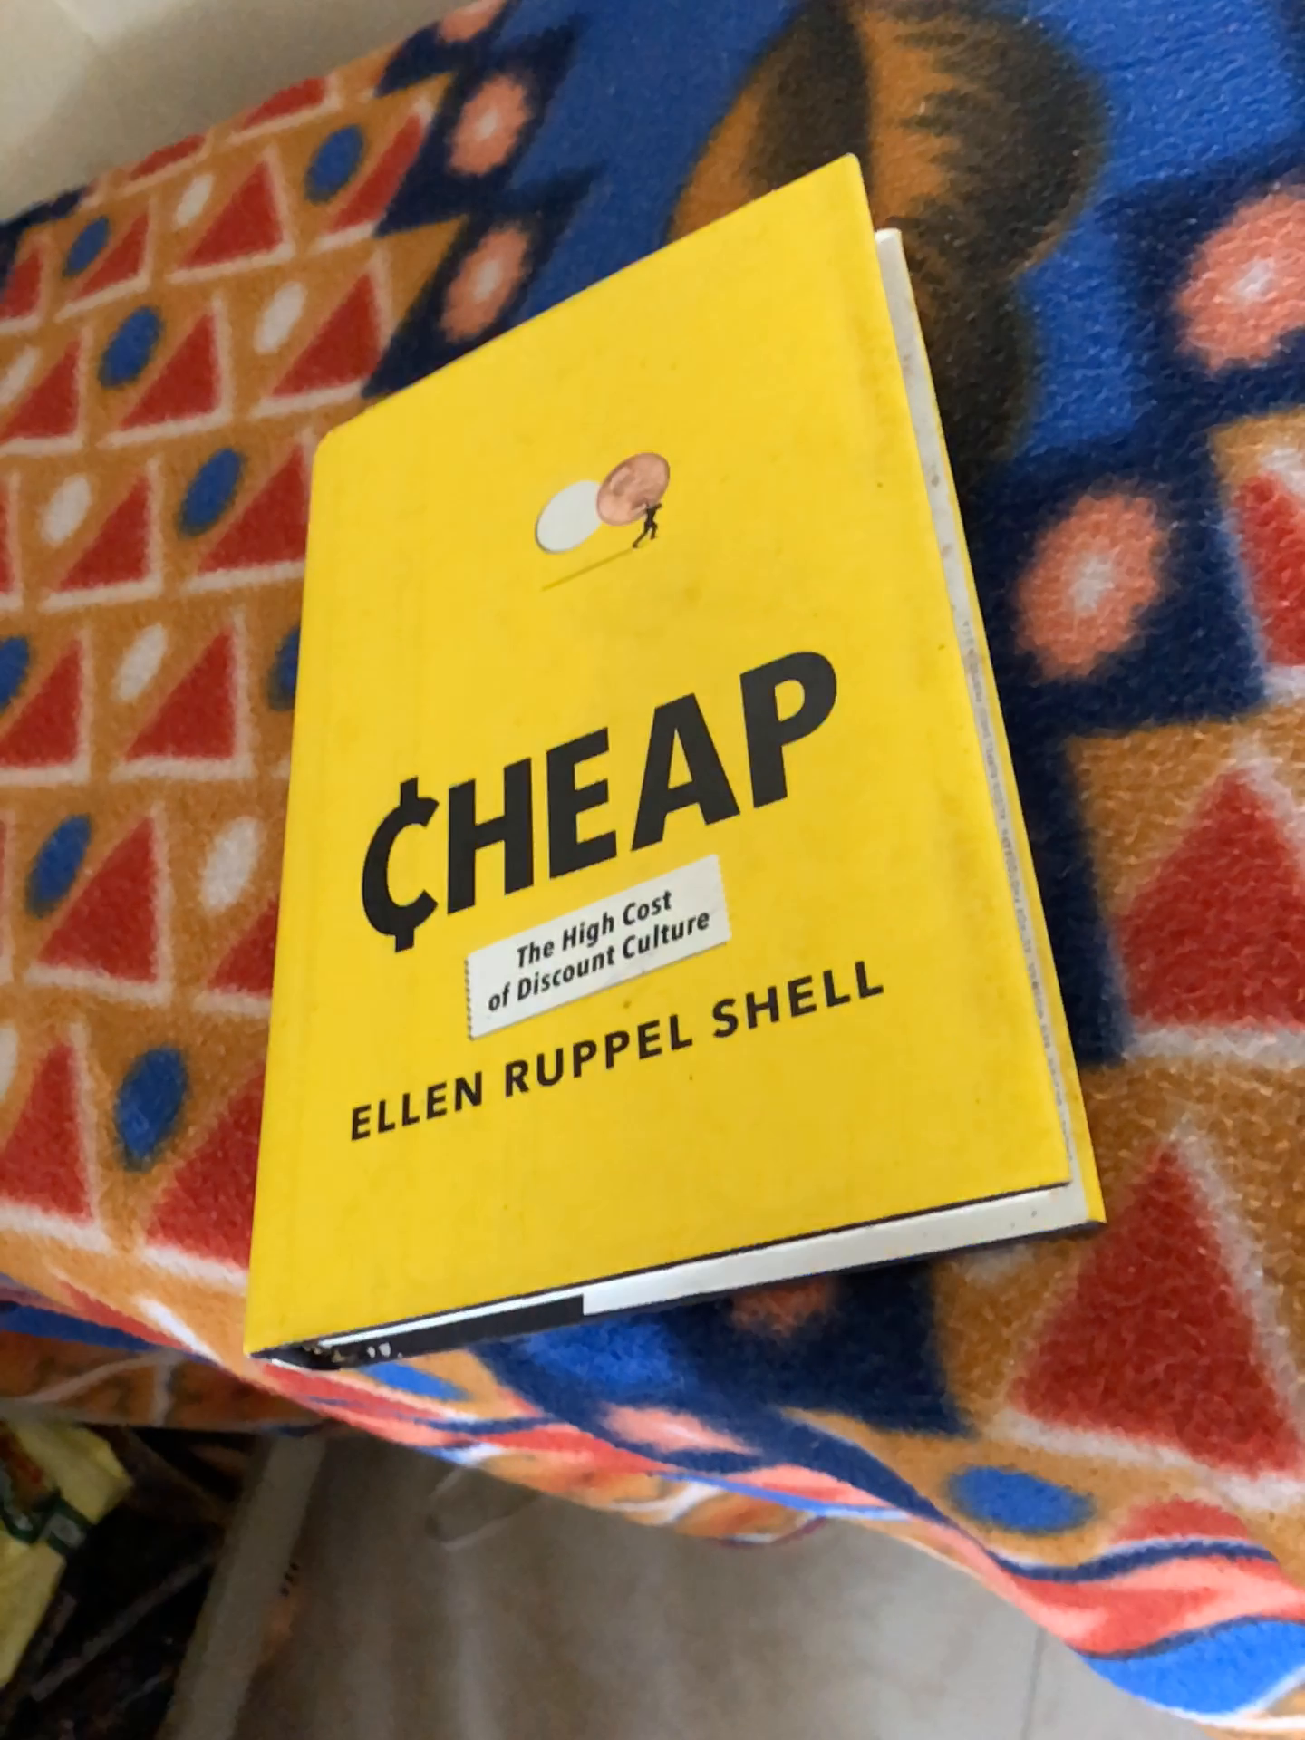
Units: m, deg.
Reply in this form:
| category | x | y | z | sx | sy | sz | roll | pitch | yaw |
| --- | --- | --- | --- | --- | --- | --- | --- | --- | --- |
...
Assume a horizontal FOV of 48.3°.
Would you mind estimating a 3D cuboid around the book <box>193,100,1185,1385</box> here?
| category | x | y | z | sx | sy | sz | roll | pitch | yaw |
| --- | --- | --- | --- | --- | --- | --- | --- | --- | --- |
| book | -0.009 | -0.033 | 0.302 | 0.170 | 0.030 | 0.240 | -18 | 57 | 23 |
